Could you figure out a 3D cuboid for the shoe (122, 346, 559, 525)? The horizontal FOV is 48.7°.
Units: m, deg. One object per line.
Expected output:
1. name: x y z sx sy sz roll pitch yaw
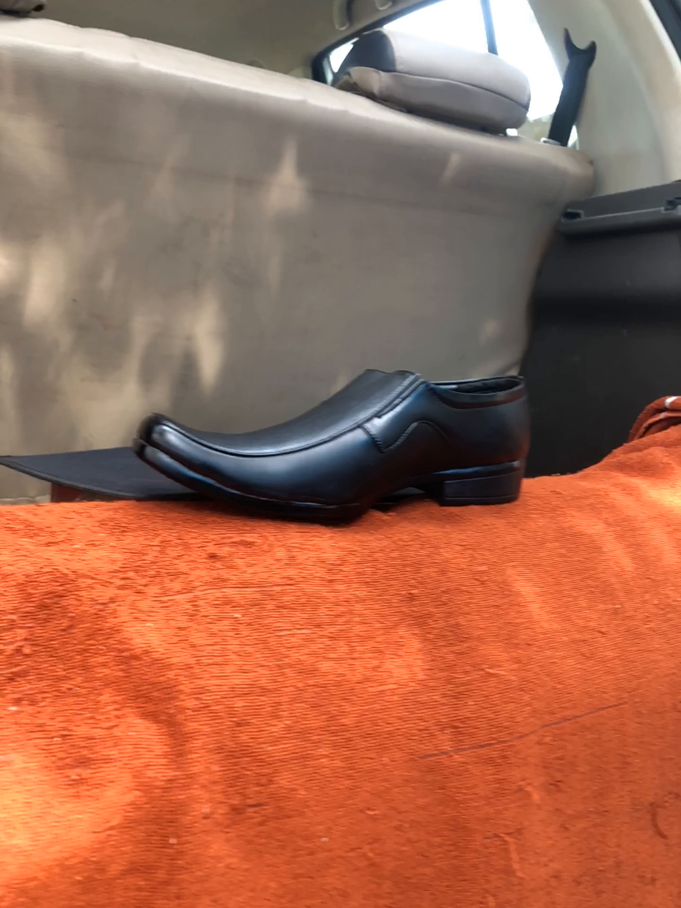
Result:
1. shoe: -0.010 -0.018 0.571 0.291 0.100 0.160 1 10 -19
